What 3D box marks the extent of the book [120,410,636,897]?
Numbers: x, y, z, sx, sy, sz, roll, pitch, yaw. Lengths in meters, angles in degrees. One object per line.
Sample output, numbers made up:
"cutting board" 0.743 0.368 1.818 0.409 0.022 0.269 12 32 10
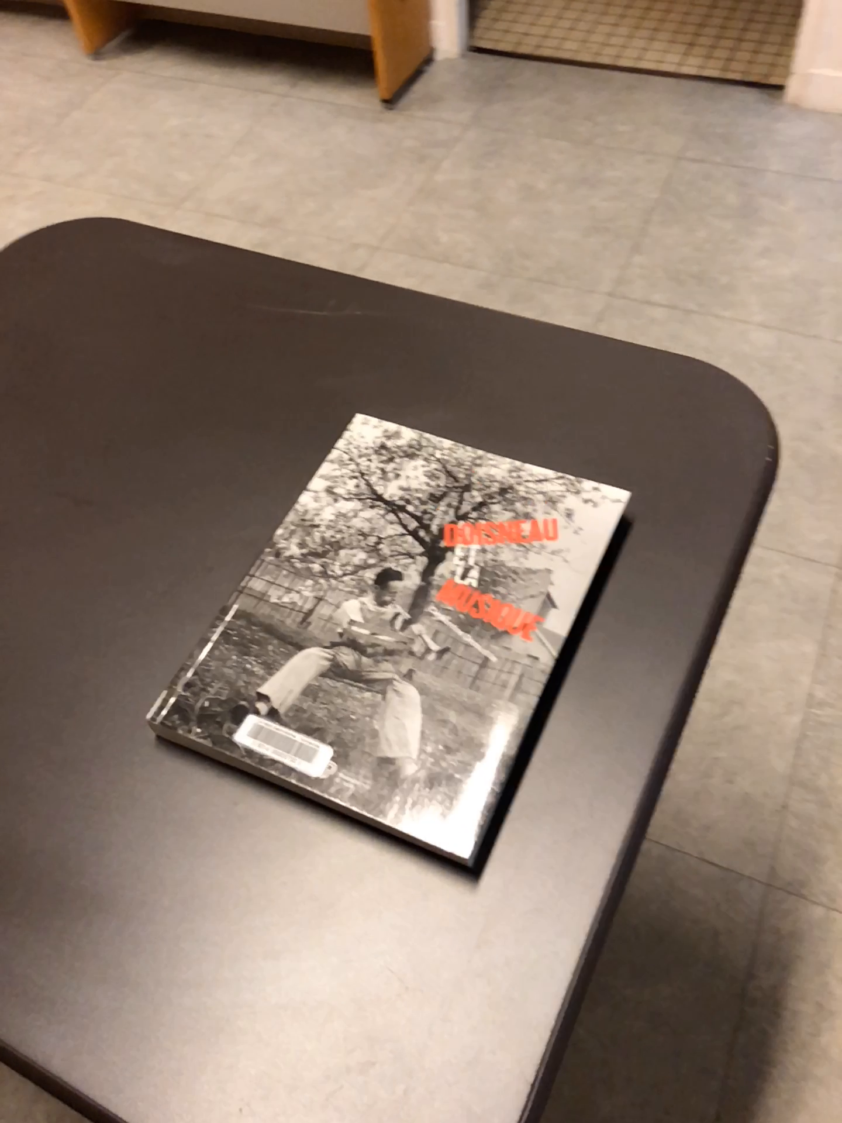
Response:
"book" -0.012 0.029 0.523 0.194 0.030 0.251 18 55 18
